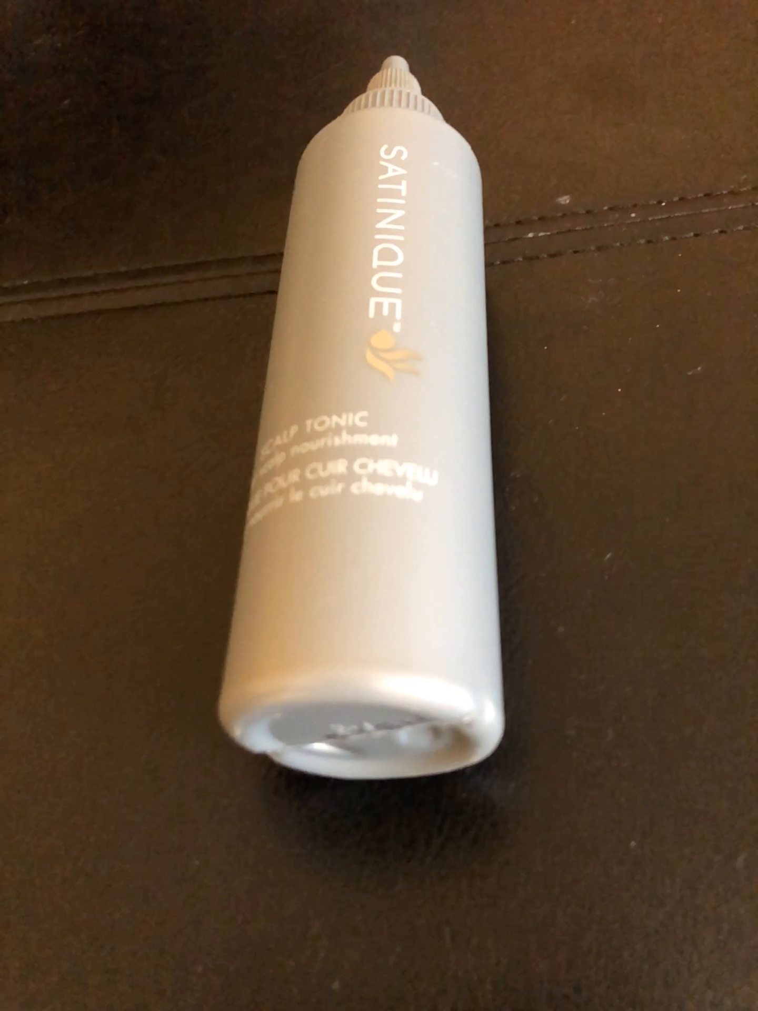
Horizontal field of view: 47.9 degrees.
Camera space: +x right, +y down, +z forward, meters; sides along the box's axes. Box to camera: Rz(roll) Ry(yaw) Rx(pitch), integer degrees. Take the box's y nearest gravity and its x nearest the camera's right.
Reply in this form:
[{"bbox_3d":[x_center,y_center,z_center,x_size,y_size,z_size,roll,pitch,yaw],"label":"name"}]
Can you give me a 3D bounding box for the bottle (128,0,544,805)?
[{"bbox_3d":[0.000,-0.030,0.134,0.040,0.040,0.140,-3,58,8],"label":"bottle"}]
